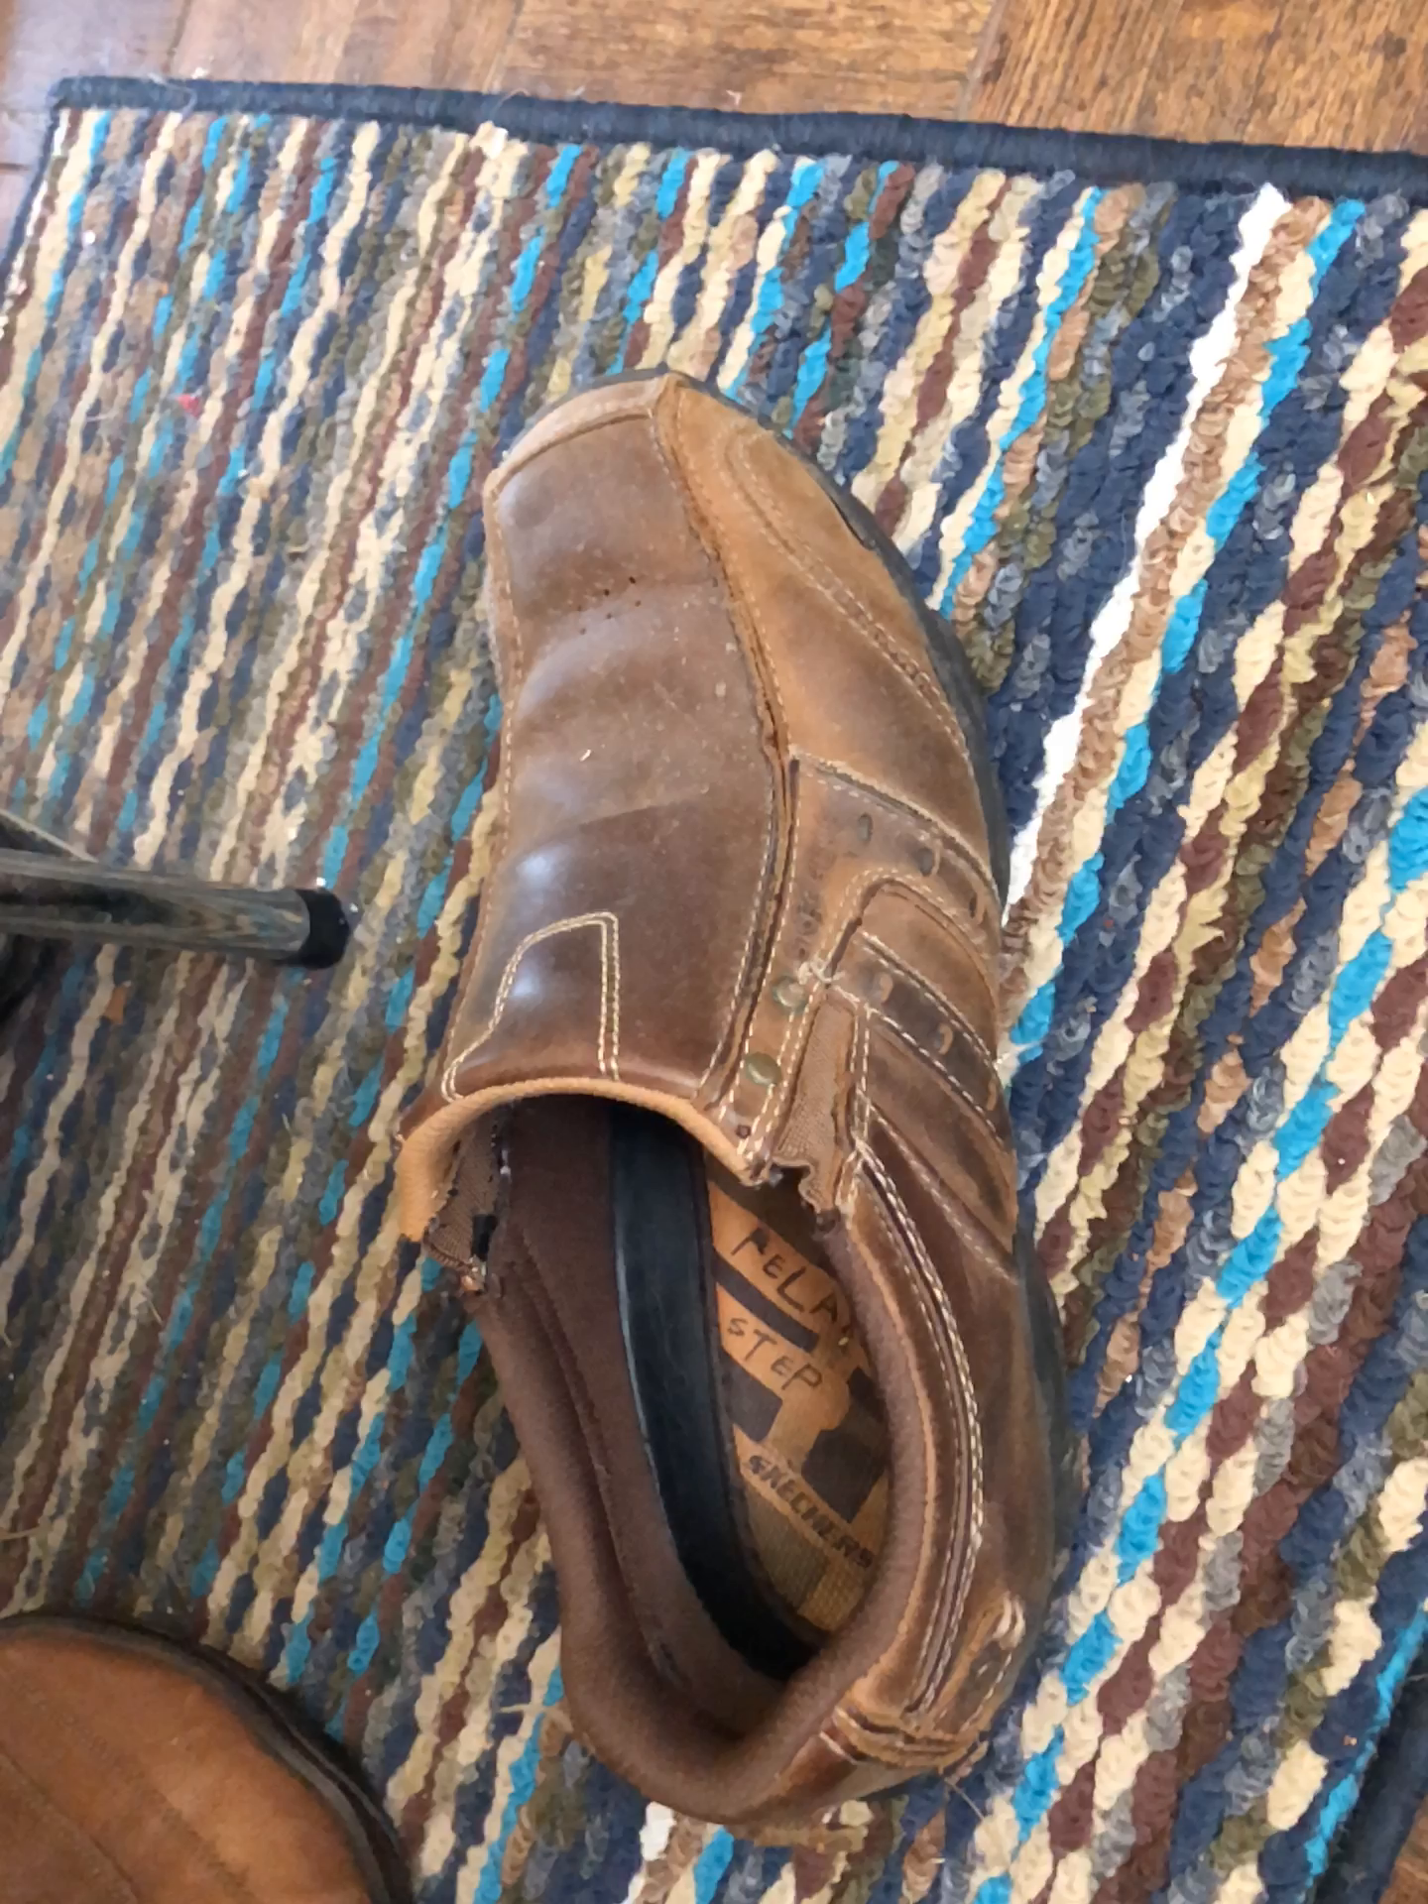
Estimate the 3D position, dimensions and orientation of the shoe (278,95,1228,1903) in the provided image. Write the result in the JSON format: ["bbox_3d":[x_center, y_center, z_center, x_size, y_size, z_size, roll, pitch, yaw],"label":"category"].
[{"bbox_3d":[0.002,0.009,0.299,0.100,0.100,0.280,-17,74,29],"label":"shoe"}]
